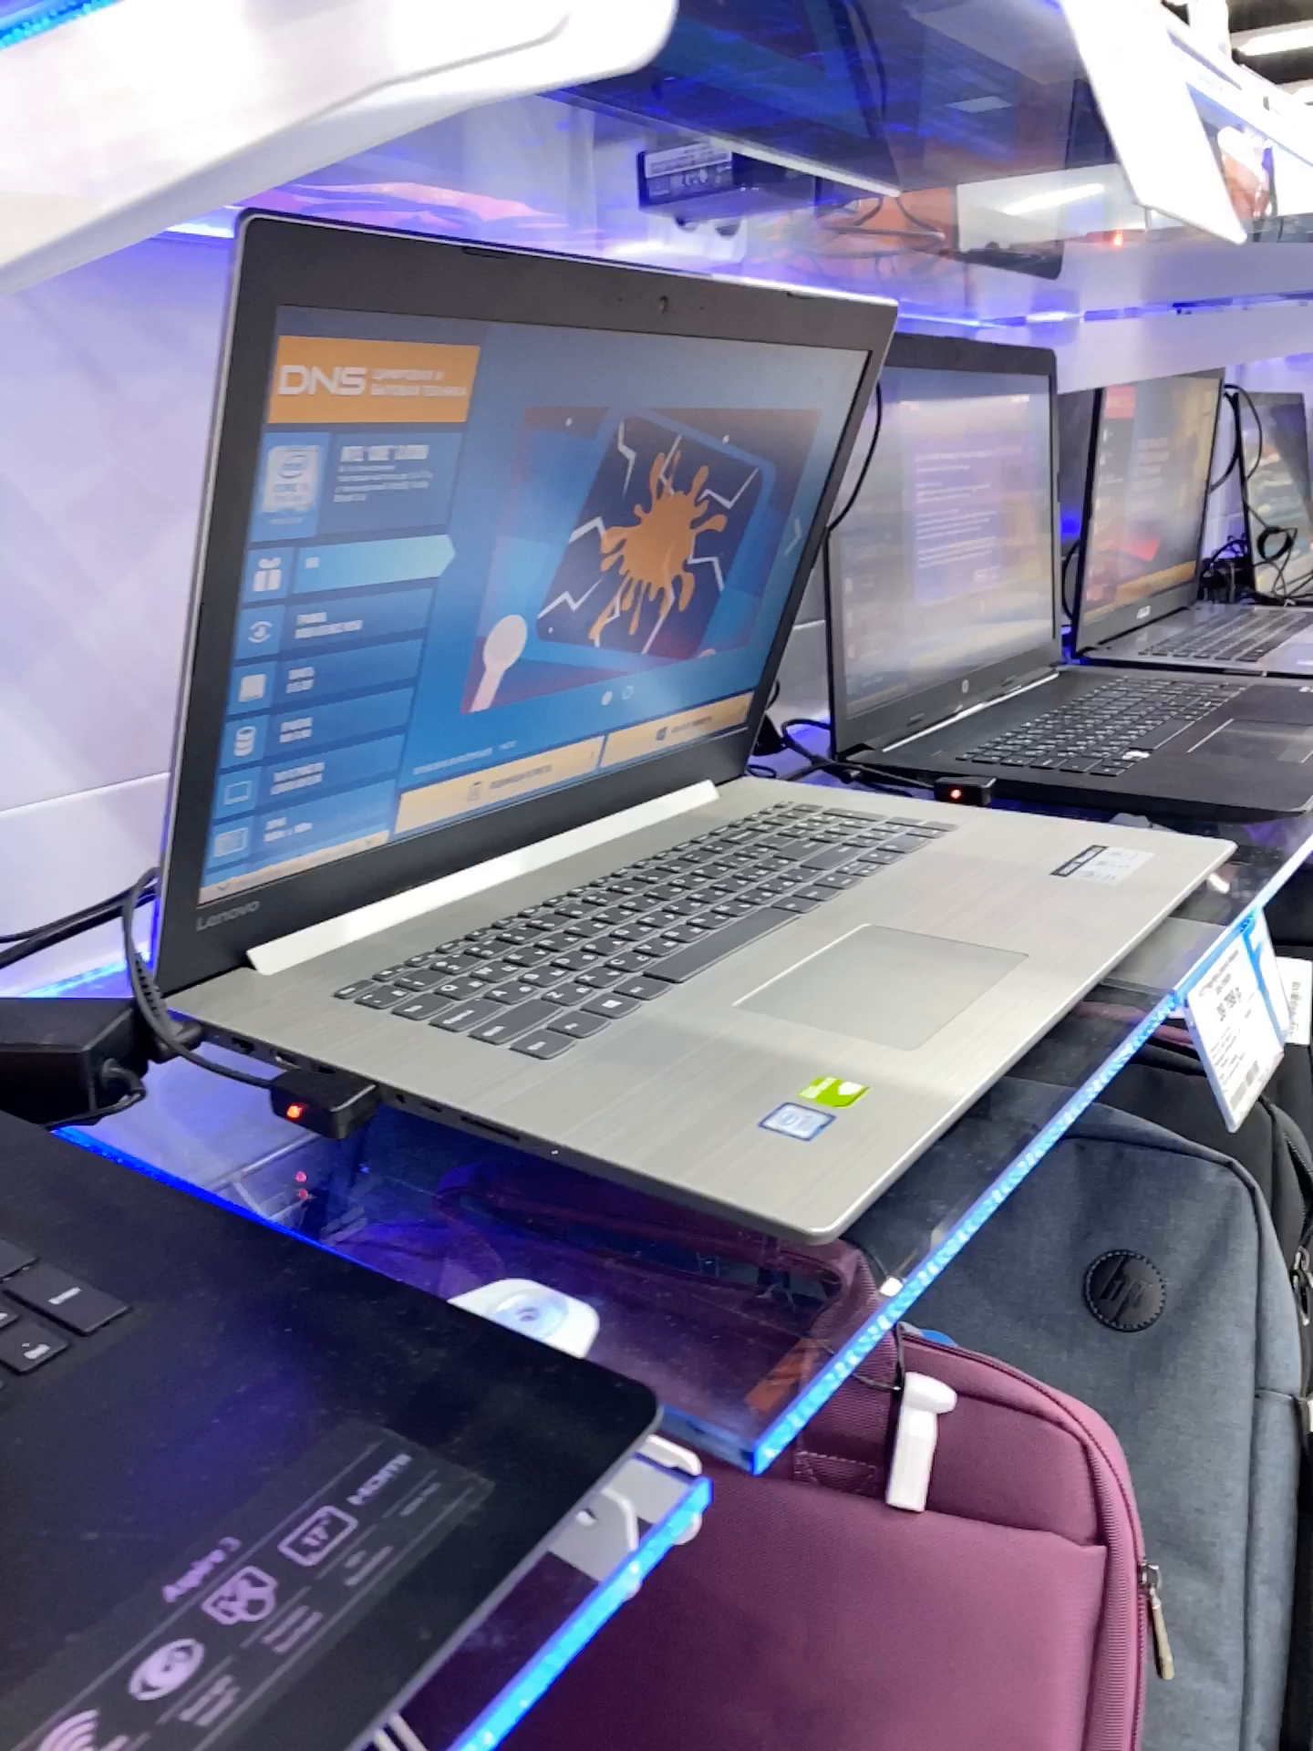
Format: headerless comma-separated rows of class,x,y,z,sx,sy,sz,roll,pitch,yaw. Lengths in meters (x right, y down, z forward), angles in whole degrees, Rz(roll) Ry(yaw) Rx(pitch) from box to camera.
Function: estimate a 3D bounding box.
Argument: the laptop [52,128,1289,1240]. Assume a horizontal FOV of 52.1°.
laptop,0.046,-0.104,0.548,0.280,0.256,0.417,11,21,34
